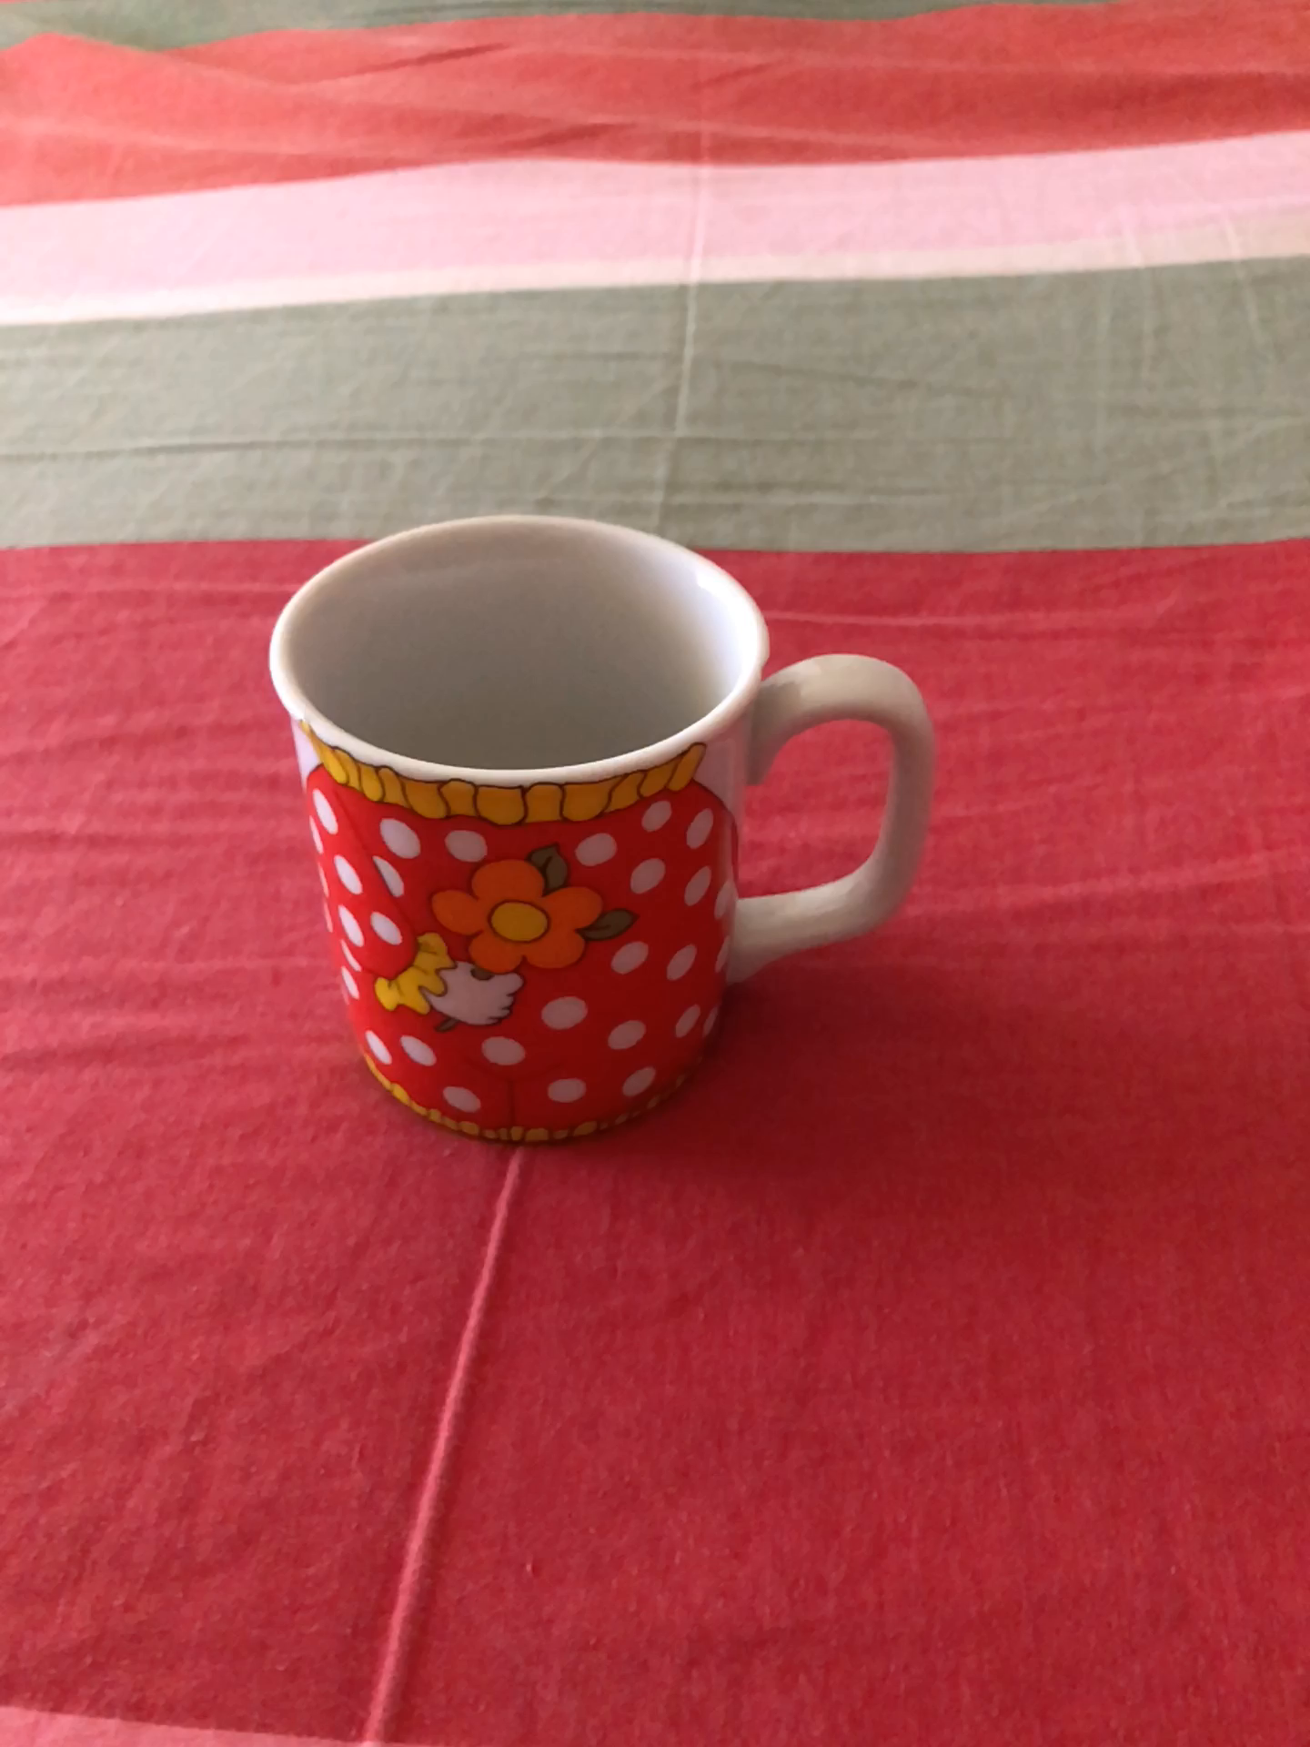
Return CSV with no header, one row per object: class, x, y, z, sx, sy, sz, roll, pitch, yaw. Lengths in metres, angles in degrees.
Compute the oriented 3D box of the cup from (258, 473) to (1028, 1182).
cup,-0.009,-0.012,0.278,0.116,0.086,0.089,-6,43,-9
